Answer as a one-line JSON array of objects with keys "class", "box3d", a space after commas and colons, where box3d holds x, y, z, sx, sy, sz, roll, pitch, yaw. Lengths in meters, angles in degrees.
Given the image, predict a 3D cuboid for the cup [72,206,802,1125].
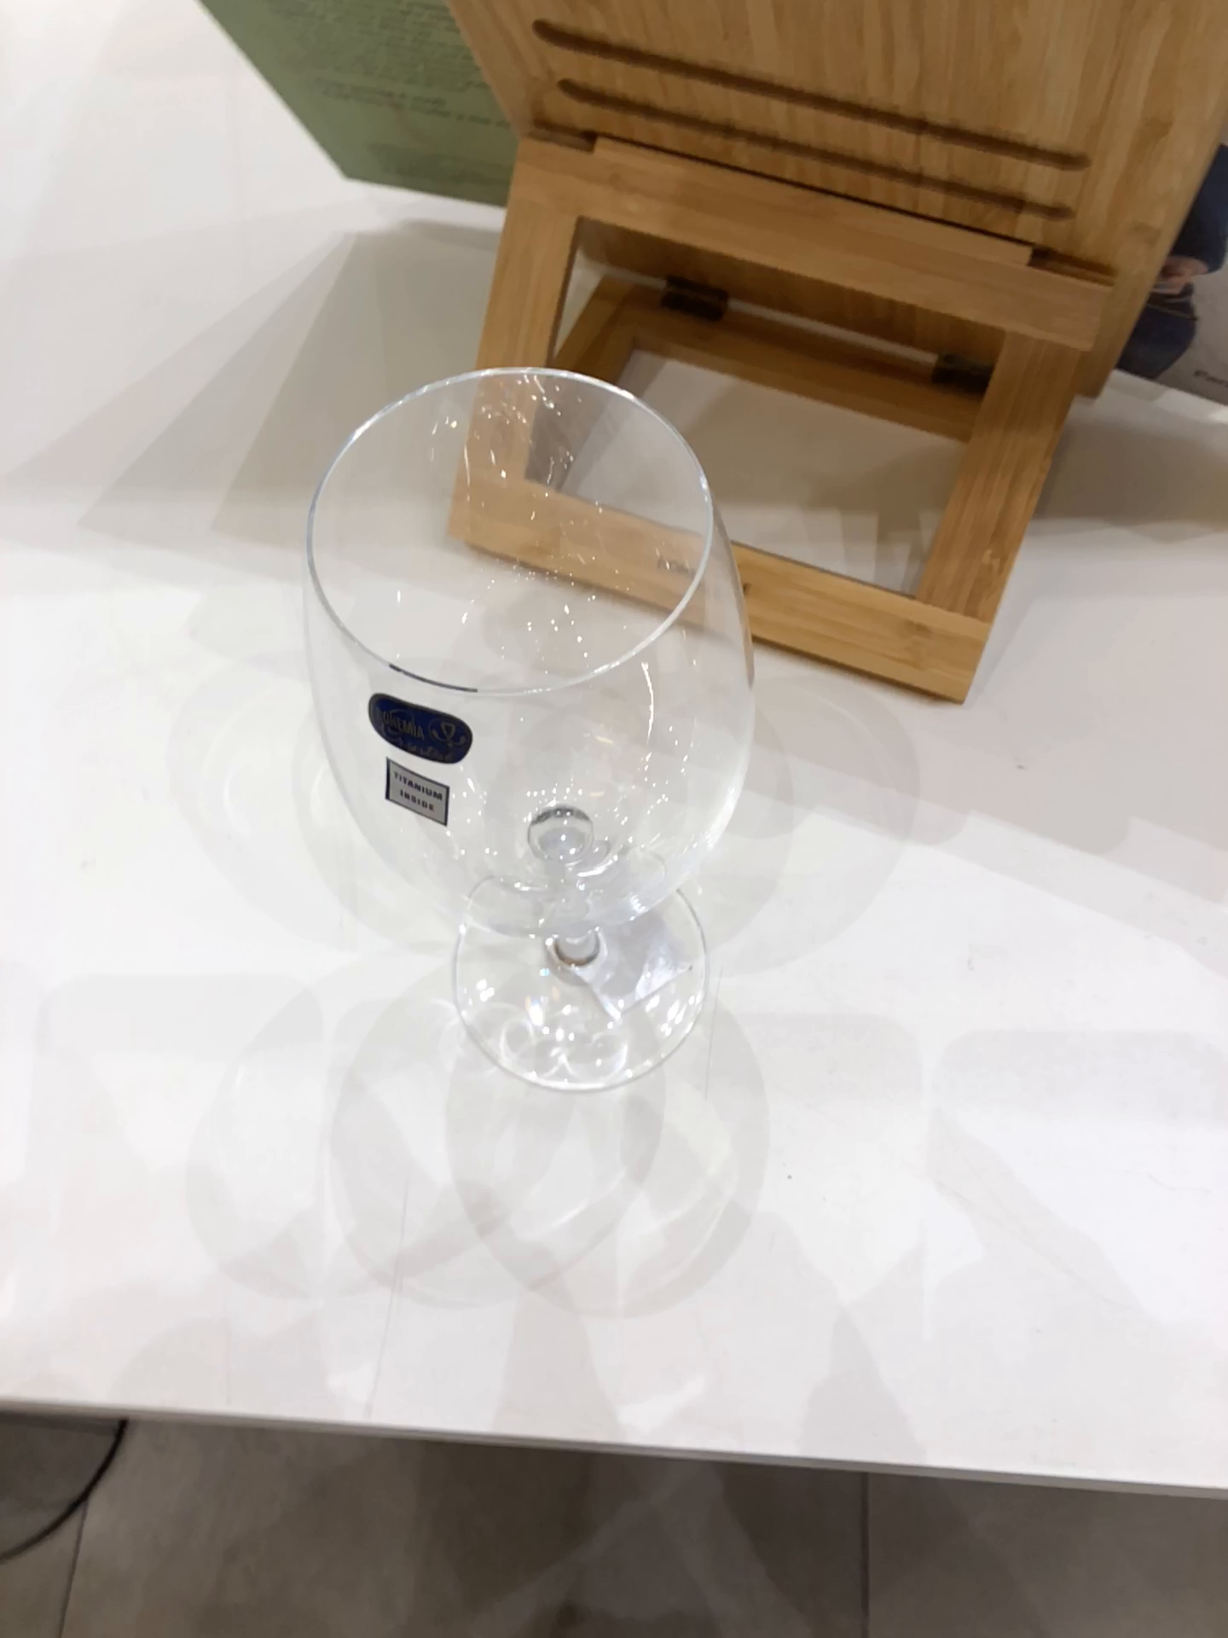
[{"class": "cup", "box3d": [-0.021, -0.009, 0.324, 0.100, 0.239, 0.090, 7, 63, 5]}]
